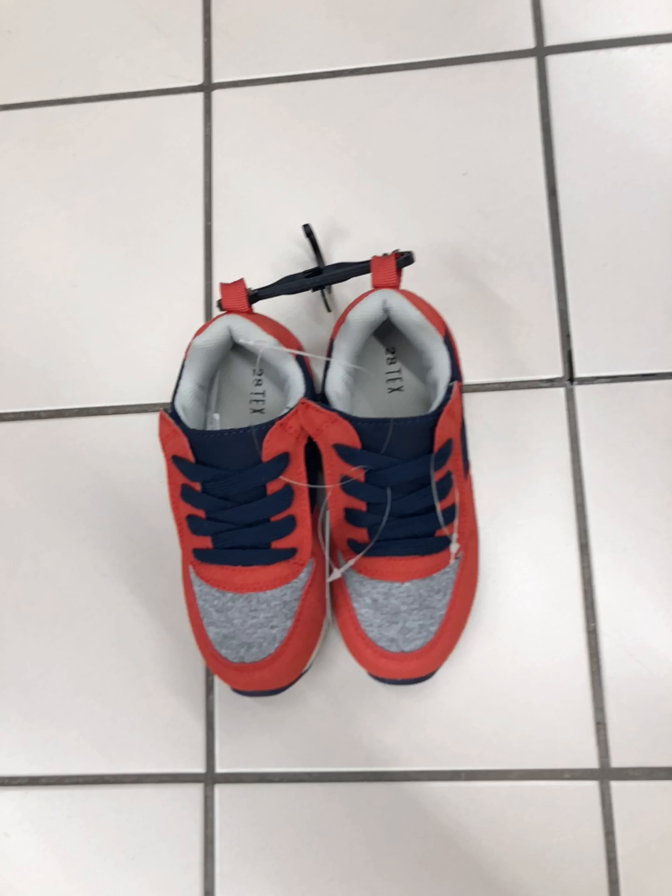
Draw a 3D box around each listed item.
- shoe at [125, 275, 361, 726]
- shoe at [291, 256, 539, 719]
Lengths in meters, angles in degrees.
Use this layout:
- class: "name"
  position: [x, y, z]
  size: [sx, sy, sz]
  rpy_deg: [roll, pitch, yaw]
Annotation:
- class: "shoe"
  position: [-0.042, 0.025, 0.359]
  size: [0.082, 0.083, 0.187]
  rpy_deg: [-7, 80, 5]
- class: "shoe"
  position: [0.034, 0.019, 0.352]
  size: [0.082, 0.083, 0.188]
  rpy_deg: [-7, 80, 5]
